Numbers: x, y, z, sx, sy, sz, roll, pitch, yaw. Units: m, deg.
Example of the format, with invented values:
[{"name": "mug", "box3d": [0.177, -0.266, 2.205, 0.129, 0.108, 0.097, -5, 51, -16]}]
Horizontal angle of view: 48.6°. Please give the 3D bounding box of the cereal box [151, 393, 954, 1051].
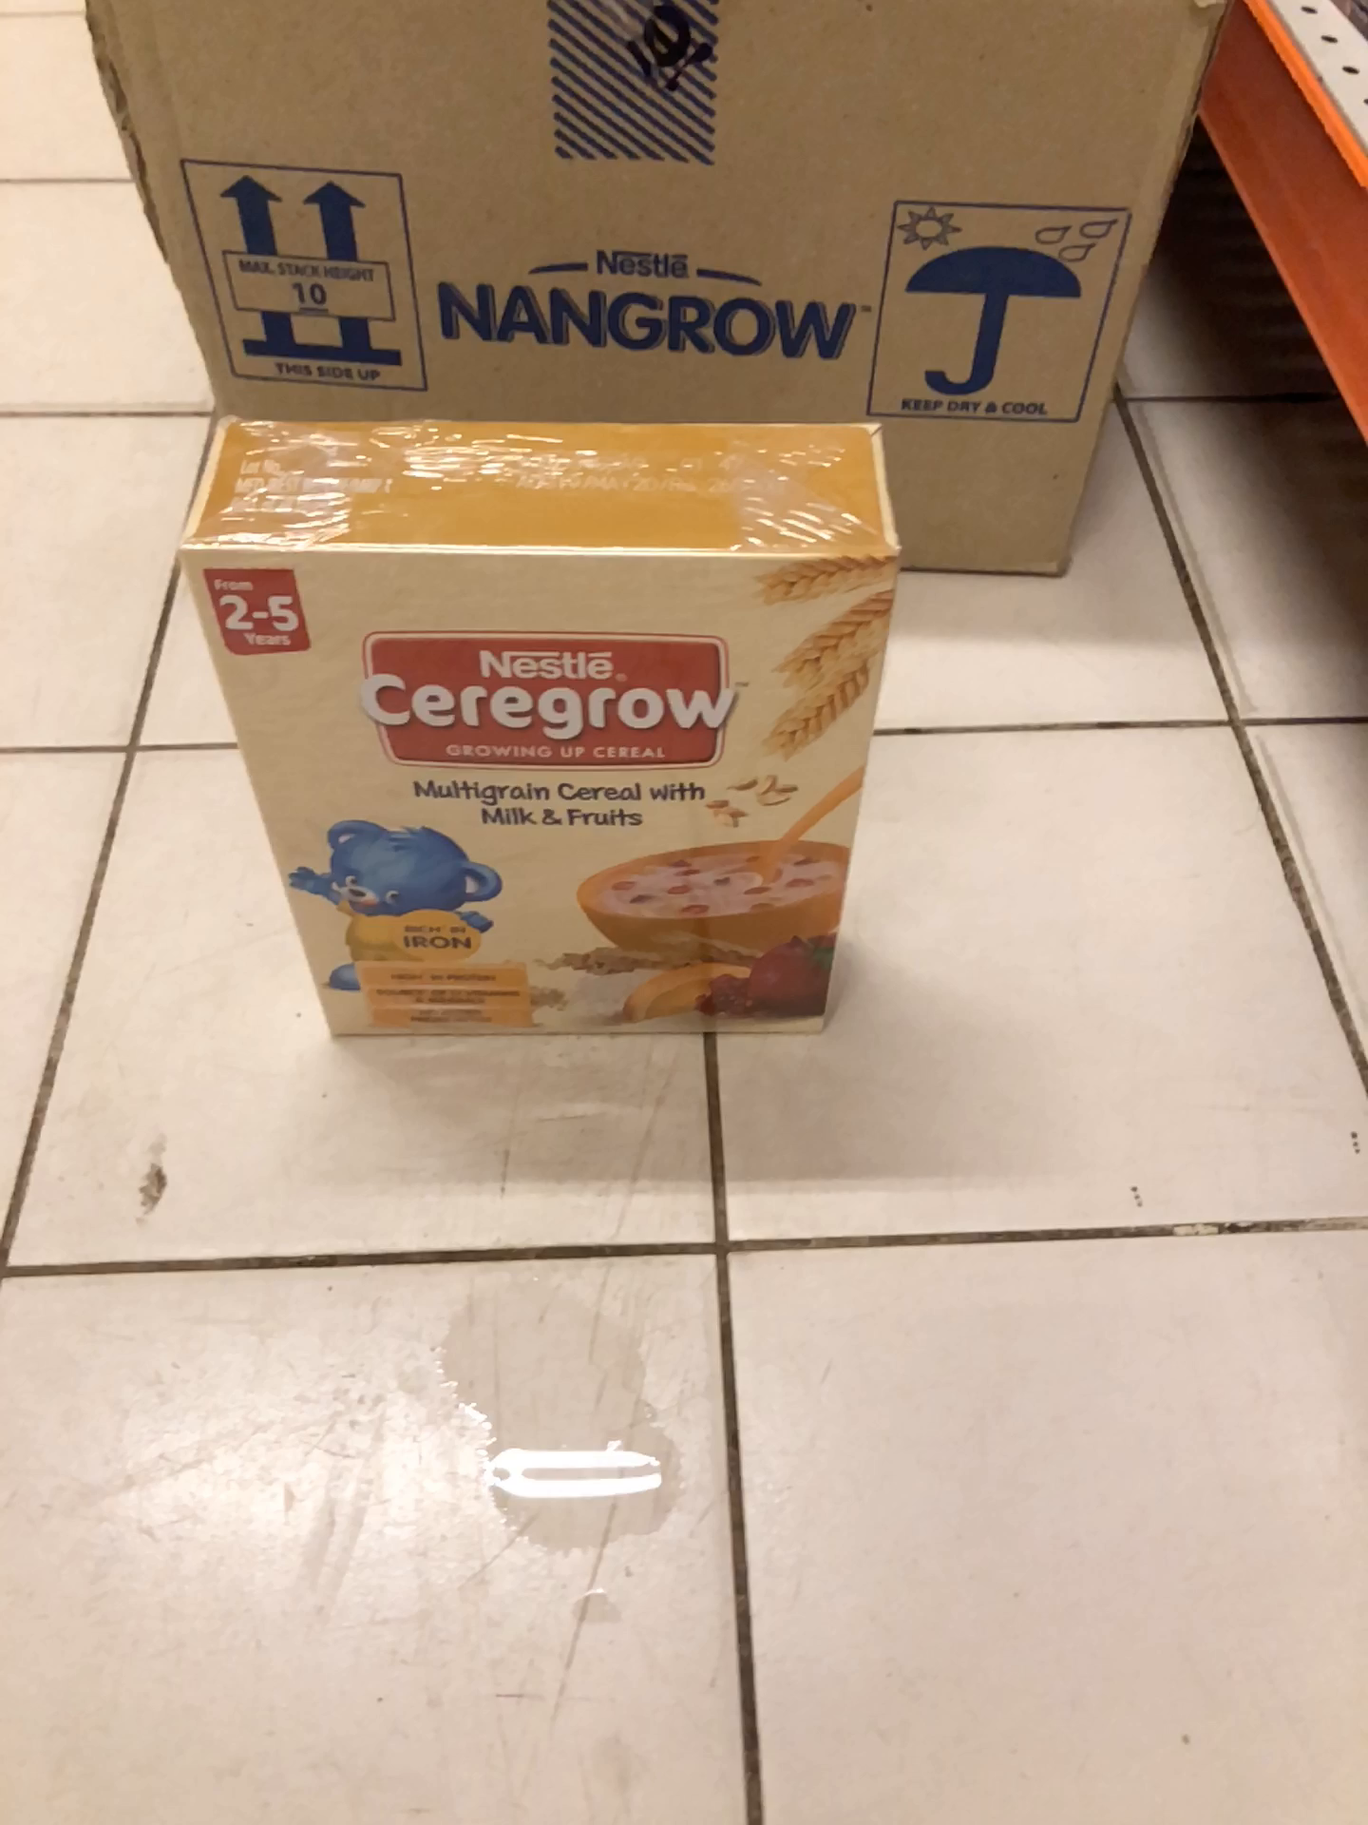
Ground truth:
[{"name": "cereal box", "box3d": [-0.027, -0.037, 0.392, 0.160, 0.189, 0.050, 0, 53, -1]}]
